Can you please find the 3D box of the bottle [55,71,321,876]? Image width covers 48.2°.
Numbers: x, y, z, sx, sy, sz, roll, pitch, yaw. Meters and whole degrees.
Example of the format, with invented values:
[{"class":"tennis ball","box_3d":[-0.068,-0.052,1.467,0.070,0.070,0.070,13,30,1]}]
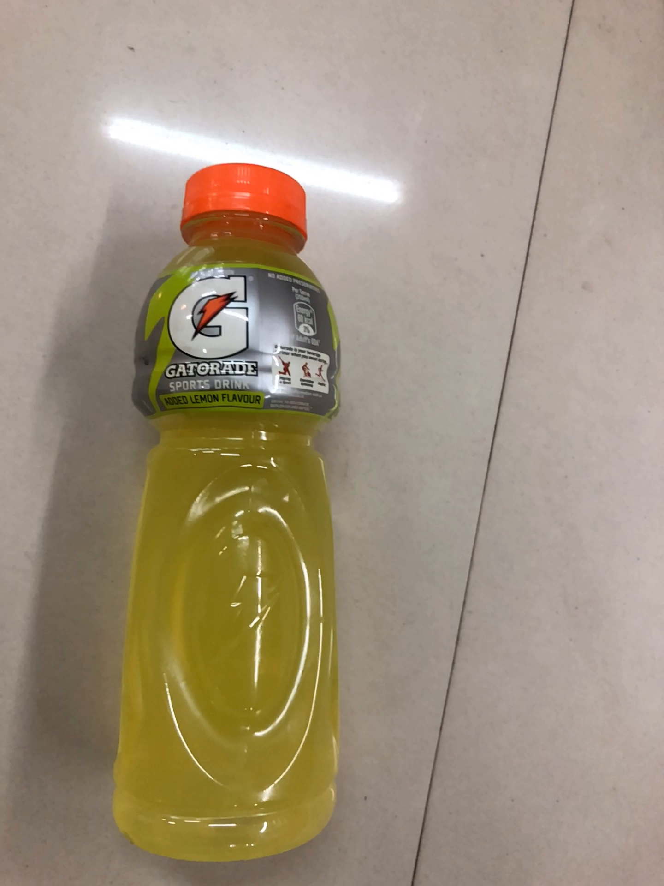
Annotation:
[{"class":"bottle","box_3d":[-0.043,0.008,0.245,0.070,0.060,0.230,1,88,-4]}]
